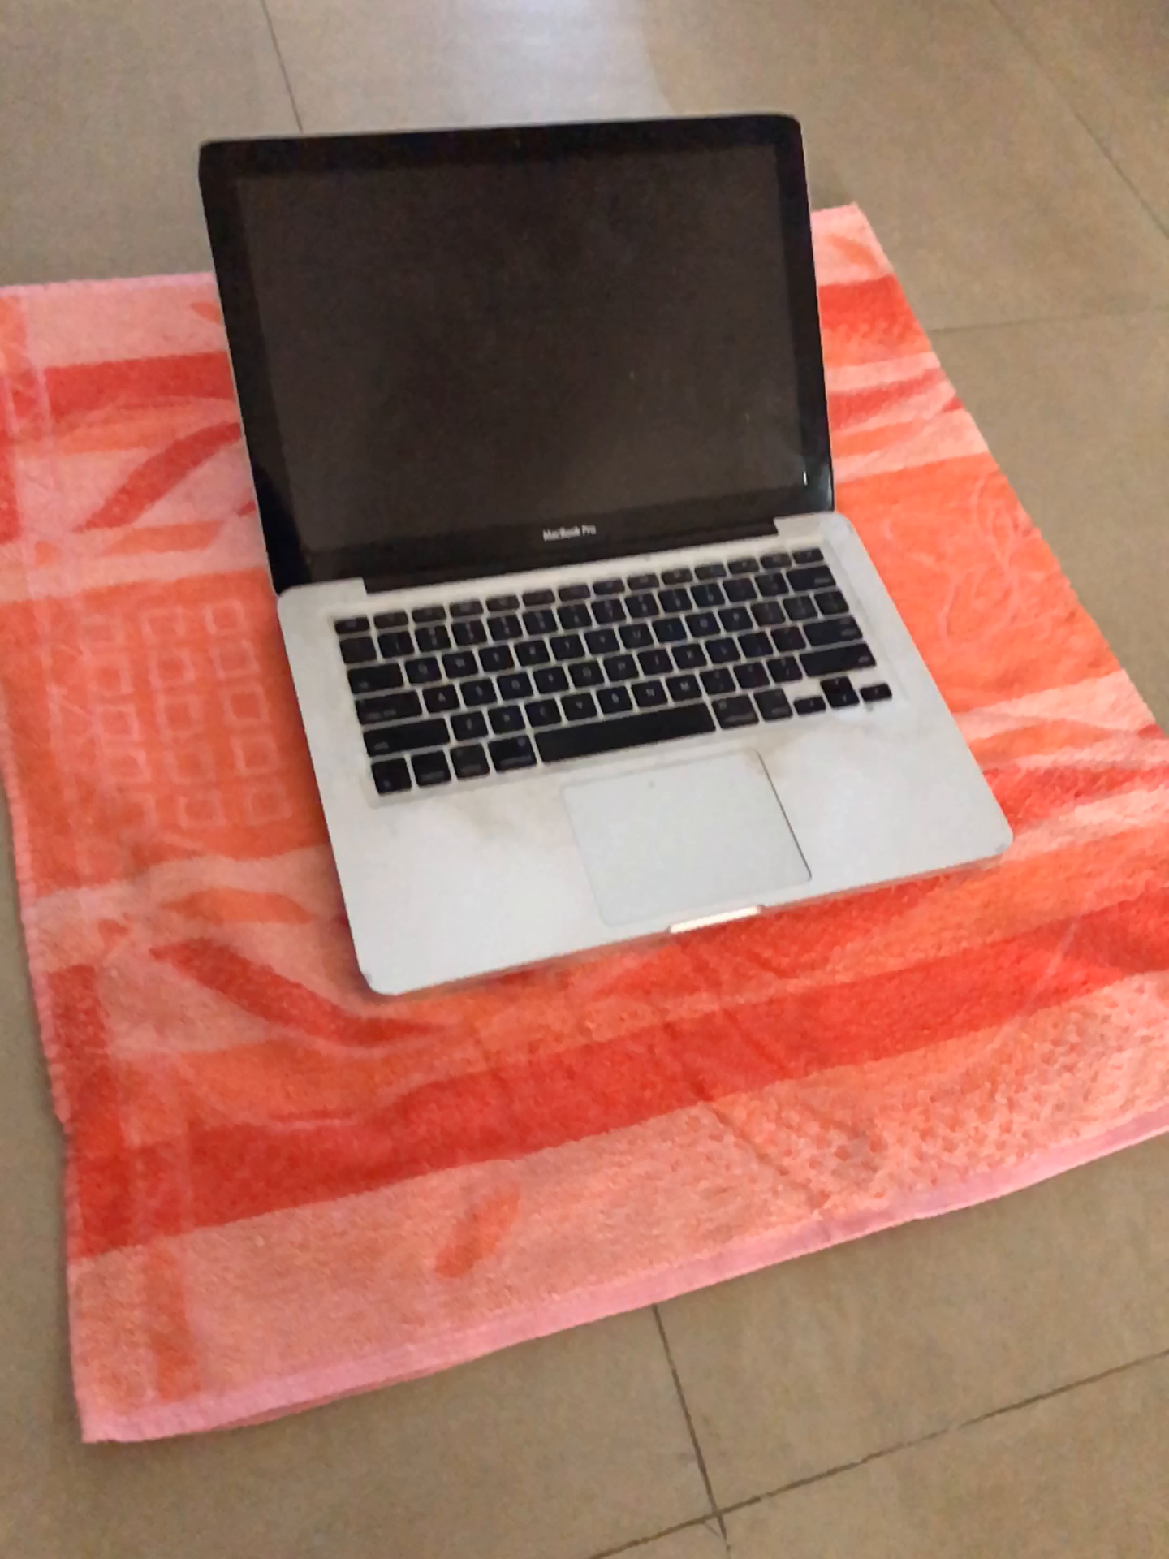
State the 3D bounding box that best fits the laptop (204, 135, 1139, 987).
[{"bbox_3d":[0.012,-0.130,0.618,0.310,0.133,0.373,-11,60,-15],"label":"laptop"}]
